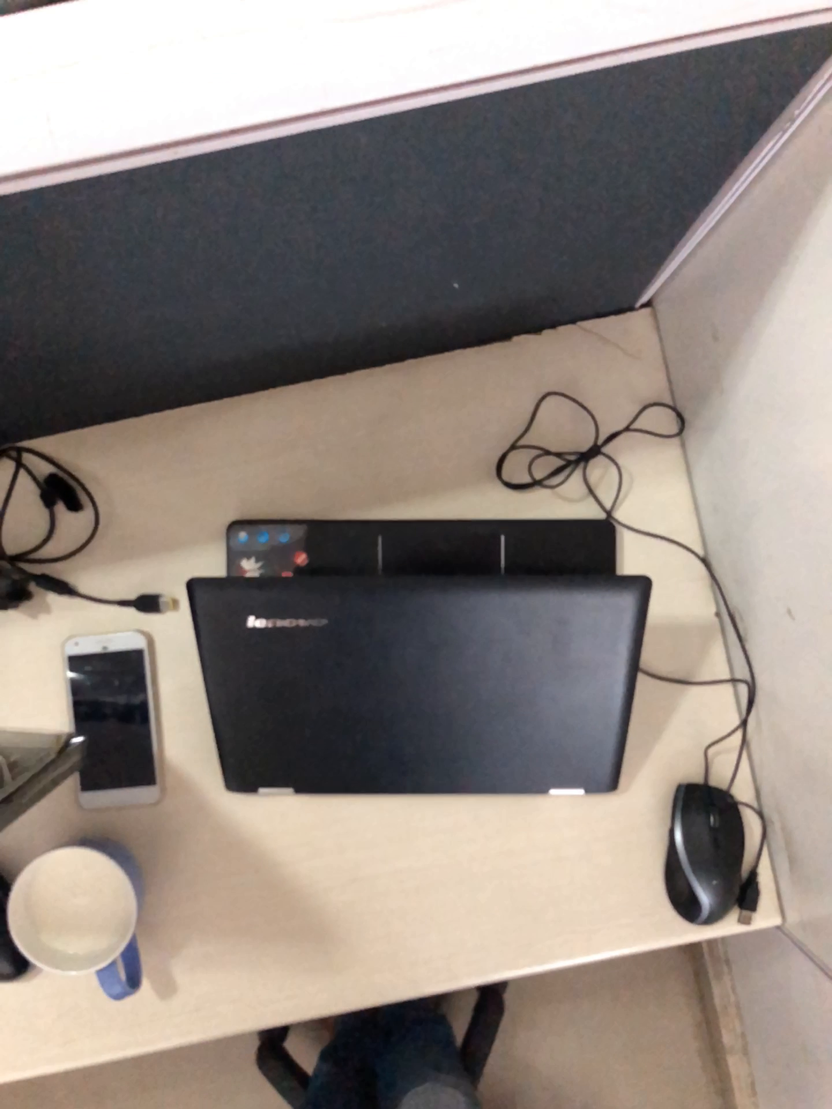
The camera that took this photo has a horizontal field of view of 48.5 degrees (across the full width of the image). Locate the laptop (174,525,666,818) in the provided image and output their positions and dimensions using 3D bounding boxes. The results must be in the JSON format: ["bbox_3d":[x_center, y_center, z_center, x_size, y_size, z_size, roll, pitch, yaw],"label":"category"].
[{"bbox_3d":[0.003,0.083,0.696,0.324,0.143,0.204,0,96,1],"label":"laptop"}]
